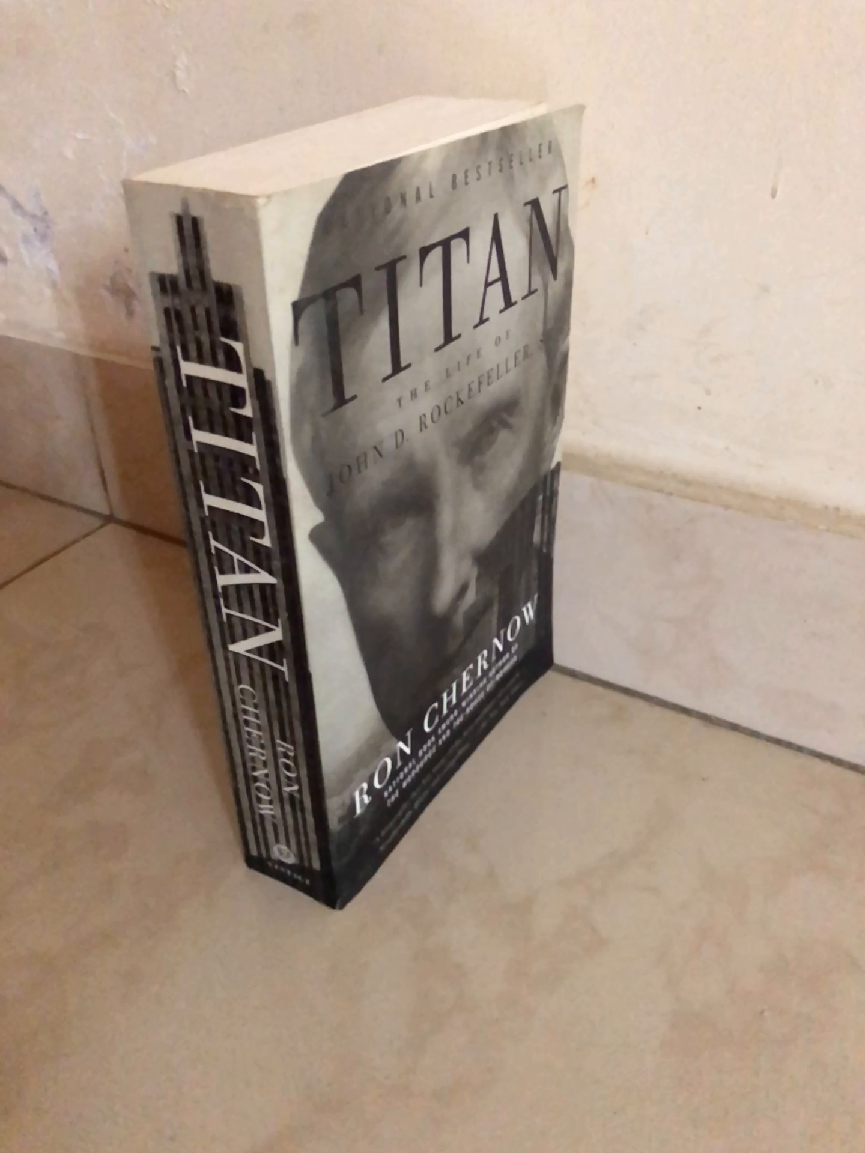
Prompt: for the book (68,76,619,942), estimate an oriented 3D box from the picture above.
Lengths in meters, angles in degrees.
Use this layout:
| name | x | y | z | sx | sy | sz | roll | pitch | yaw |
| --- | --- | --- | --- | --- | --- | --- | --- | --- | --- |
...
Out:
| name | x | y | z | sx | sy | sz | roll | pitch | yaw |
| --- | --- | --- | --- | --- | --- | --- | --- | --- | --- |
| book | -0.006 | -0.035 | 0.336 | 0.060 | 0.229 | 0.201 | 15 | 36 | 23 |
